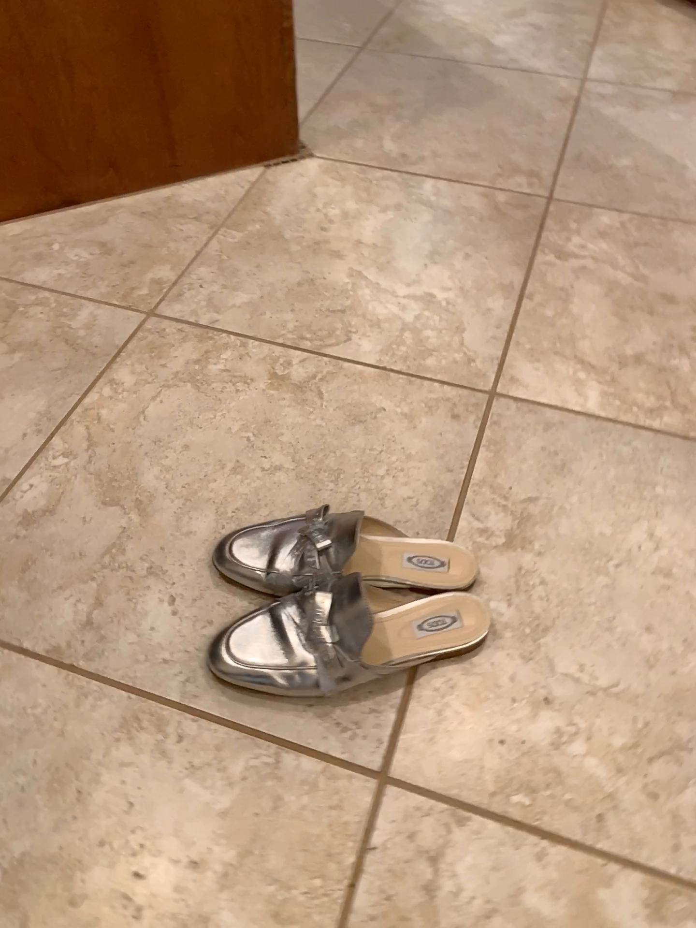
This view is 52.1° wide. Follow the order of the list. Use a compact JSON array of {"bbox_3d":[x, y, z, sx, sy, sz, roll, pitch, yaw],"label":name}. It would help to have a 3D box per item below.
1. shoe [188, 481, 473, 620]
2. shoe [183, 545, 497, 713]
[{"bbox_3d":[-0.014,0.090,0.752,0.277,0.077,0.102,3,50,3],"label":"shoe"},{"bbox_3d":[-0.011,0.157,0.689,0.280,0.077,0.092,-8,50,-6],"label":"shoe"}]
